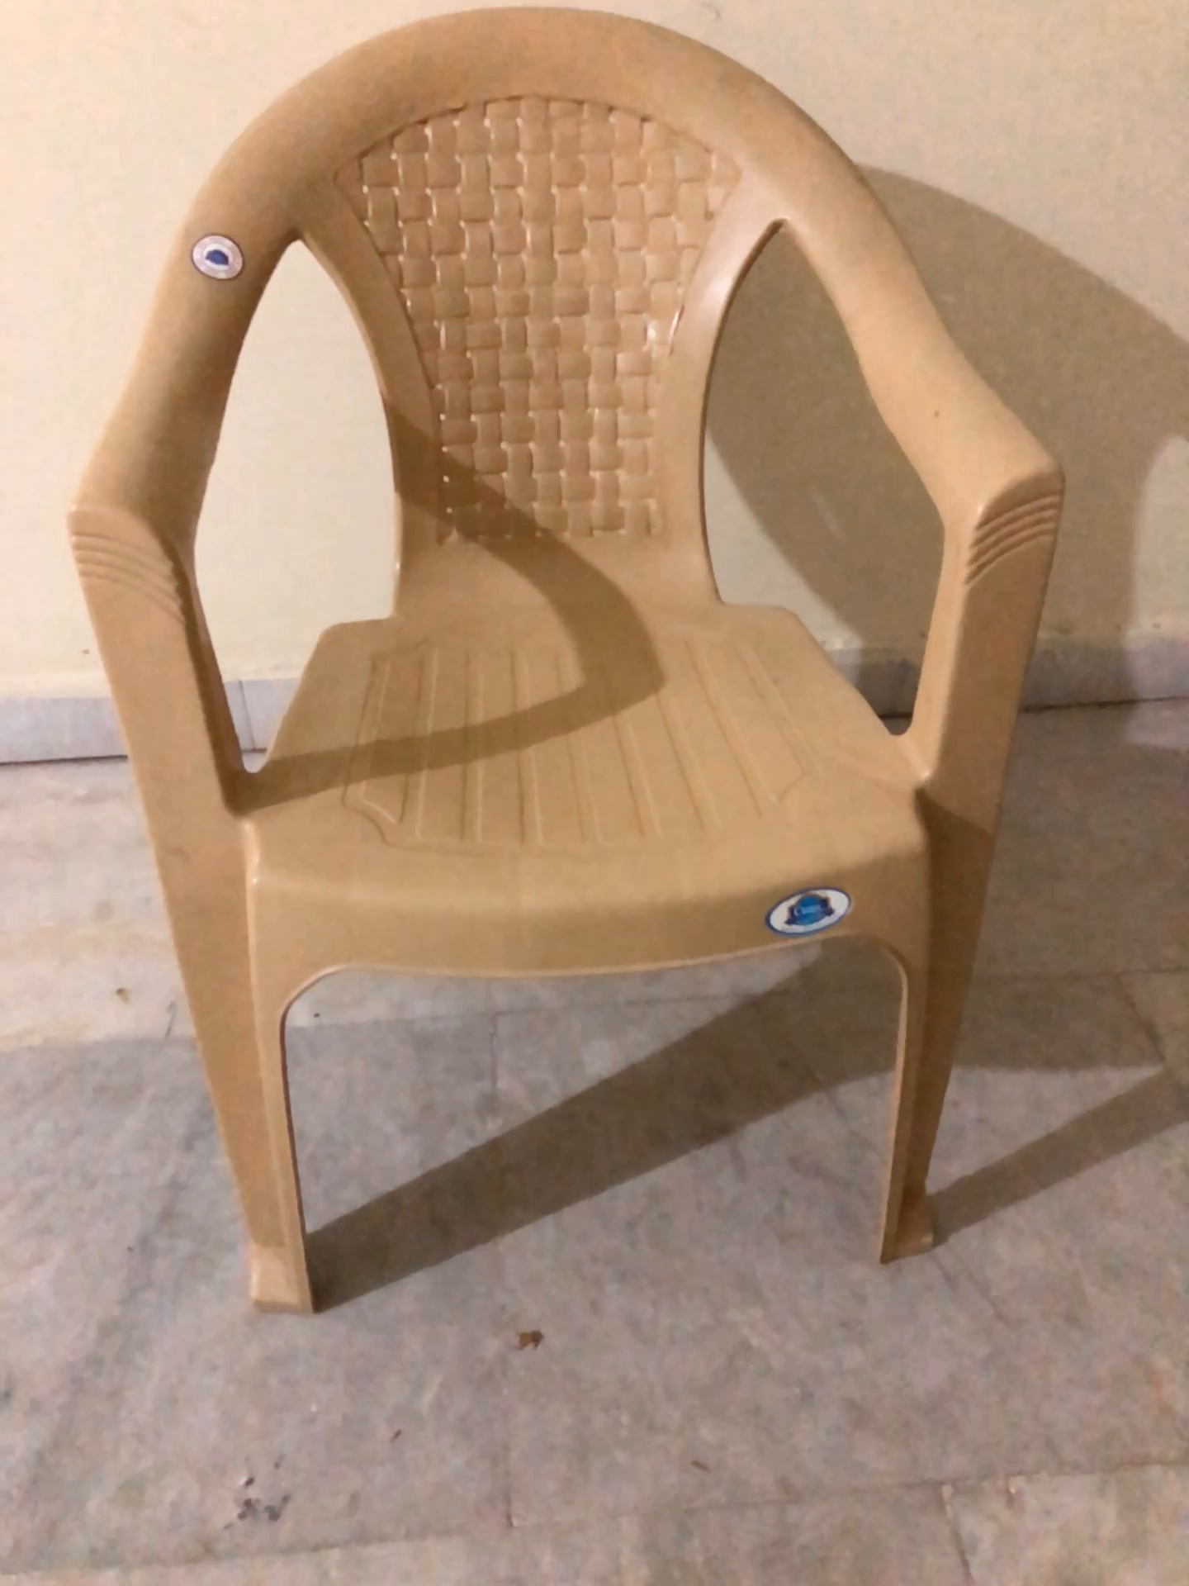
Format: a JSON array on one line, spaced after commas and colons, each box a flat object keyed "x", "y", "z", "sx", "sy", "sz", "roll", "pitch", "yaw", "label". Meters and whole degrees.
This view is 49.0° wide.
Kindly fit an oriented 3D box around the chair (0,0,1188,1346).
[{"x": -0.024, "y": -0.121, "z": 0.945, "sx": 0.590, "sy": 0.745, "sz": 0.604, "roll": -4, "pitch": 37, "yaw": -6, "label": "chair"}]
